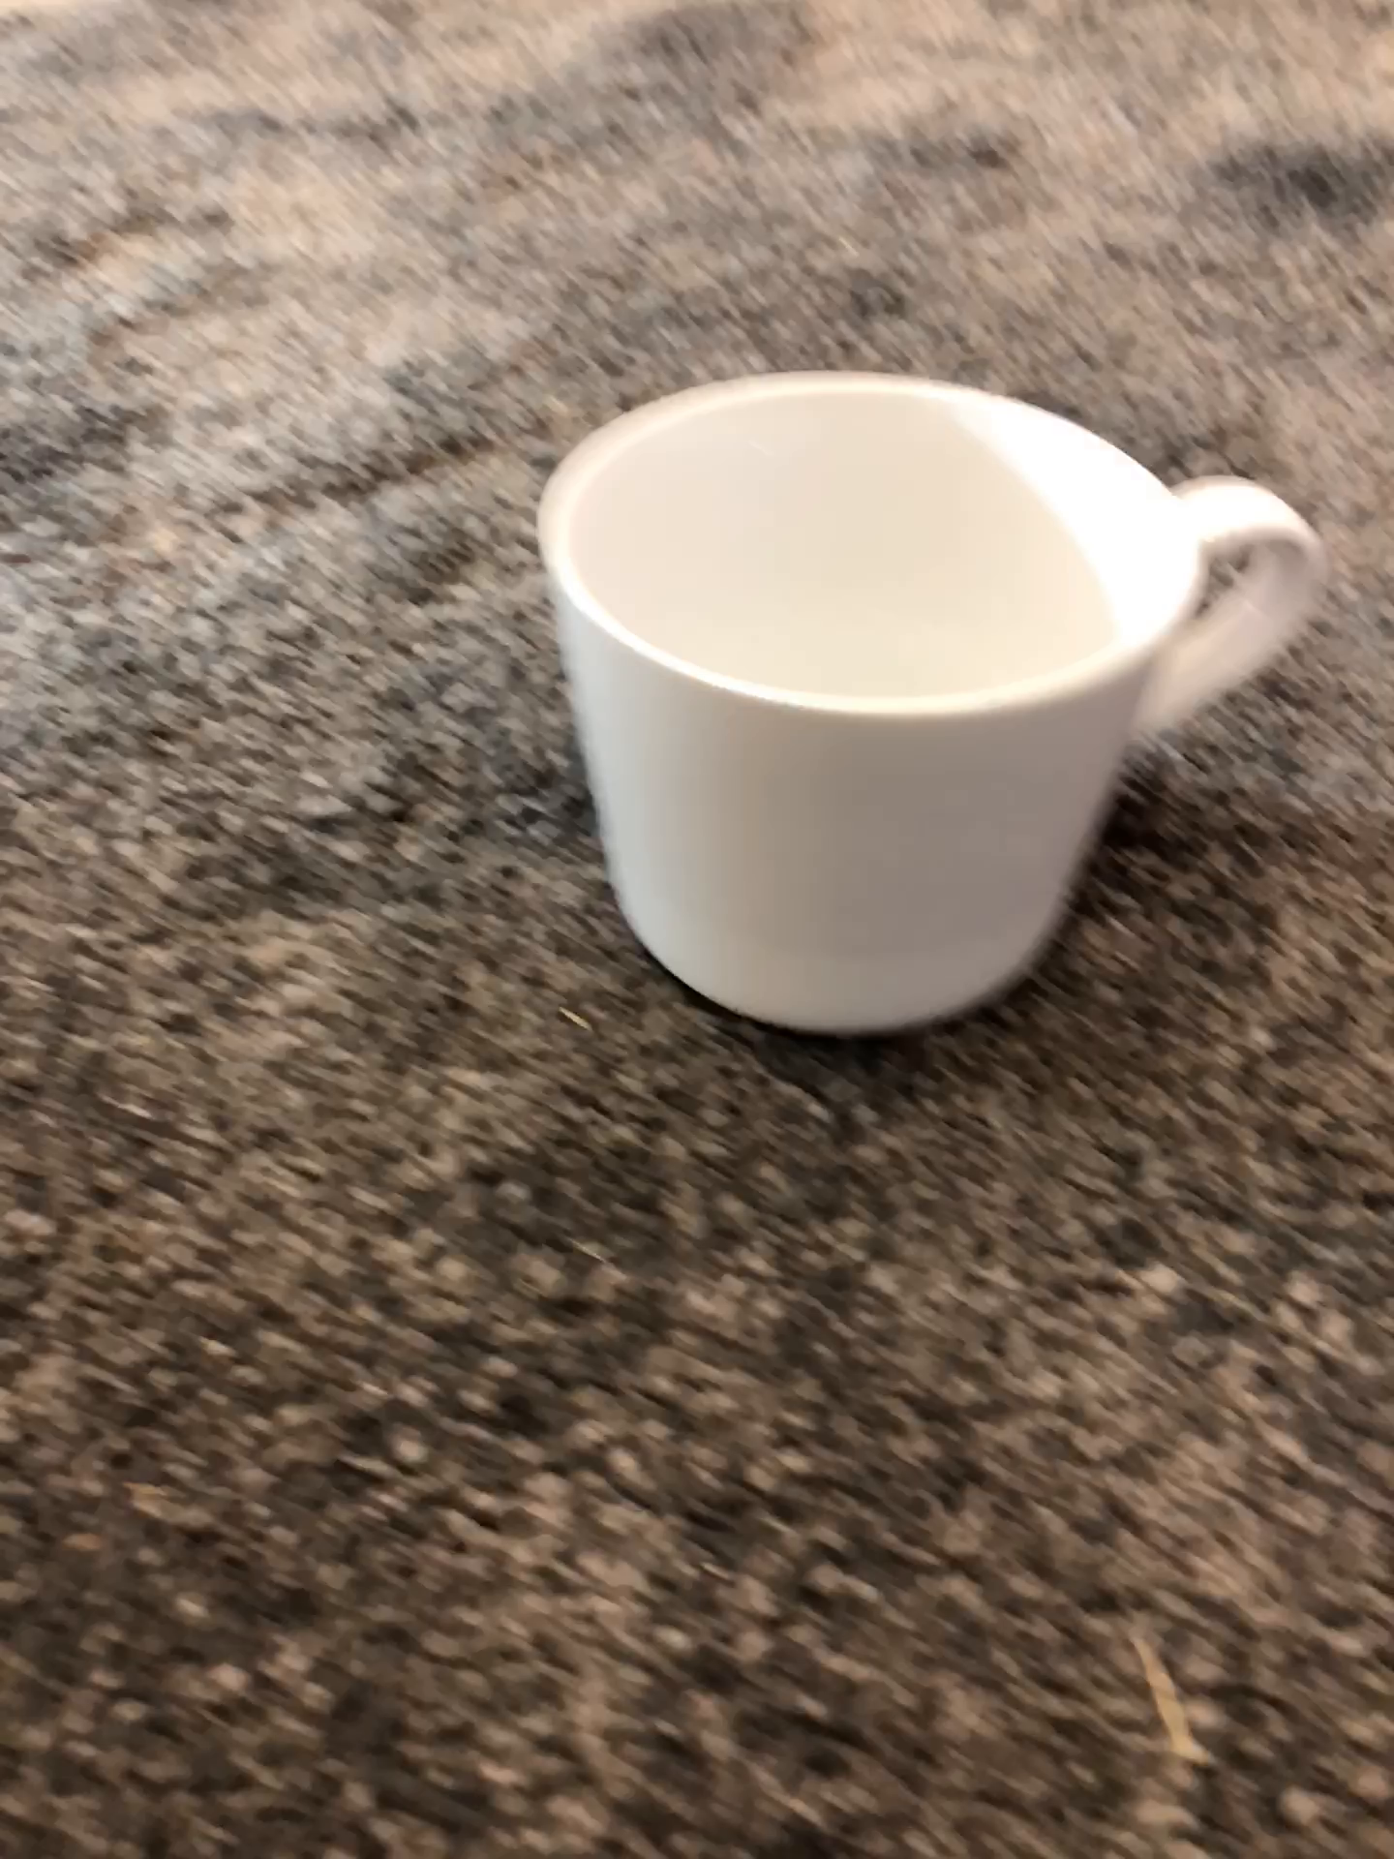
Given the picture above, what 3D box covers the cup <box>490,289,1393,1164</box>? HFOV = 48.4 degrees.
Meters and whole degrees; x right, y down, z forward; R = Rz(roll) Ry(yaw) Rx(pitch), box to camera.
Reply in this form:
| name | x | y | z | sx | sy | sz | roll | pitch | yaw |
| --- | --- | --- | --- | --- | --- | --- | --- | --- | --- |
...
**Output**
| name | x | y | z | sx | sy | sz | roll | pitch | yaw |
| --- | --- | --- | --- | --- | --- | --- | --- | --- | --- |
| cup | 0.048 | -0.041 | 0.266 | 0.140 | 0.080 | 0.100 | -14 | 46 | -12 |
